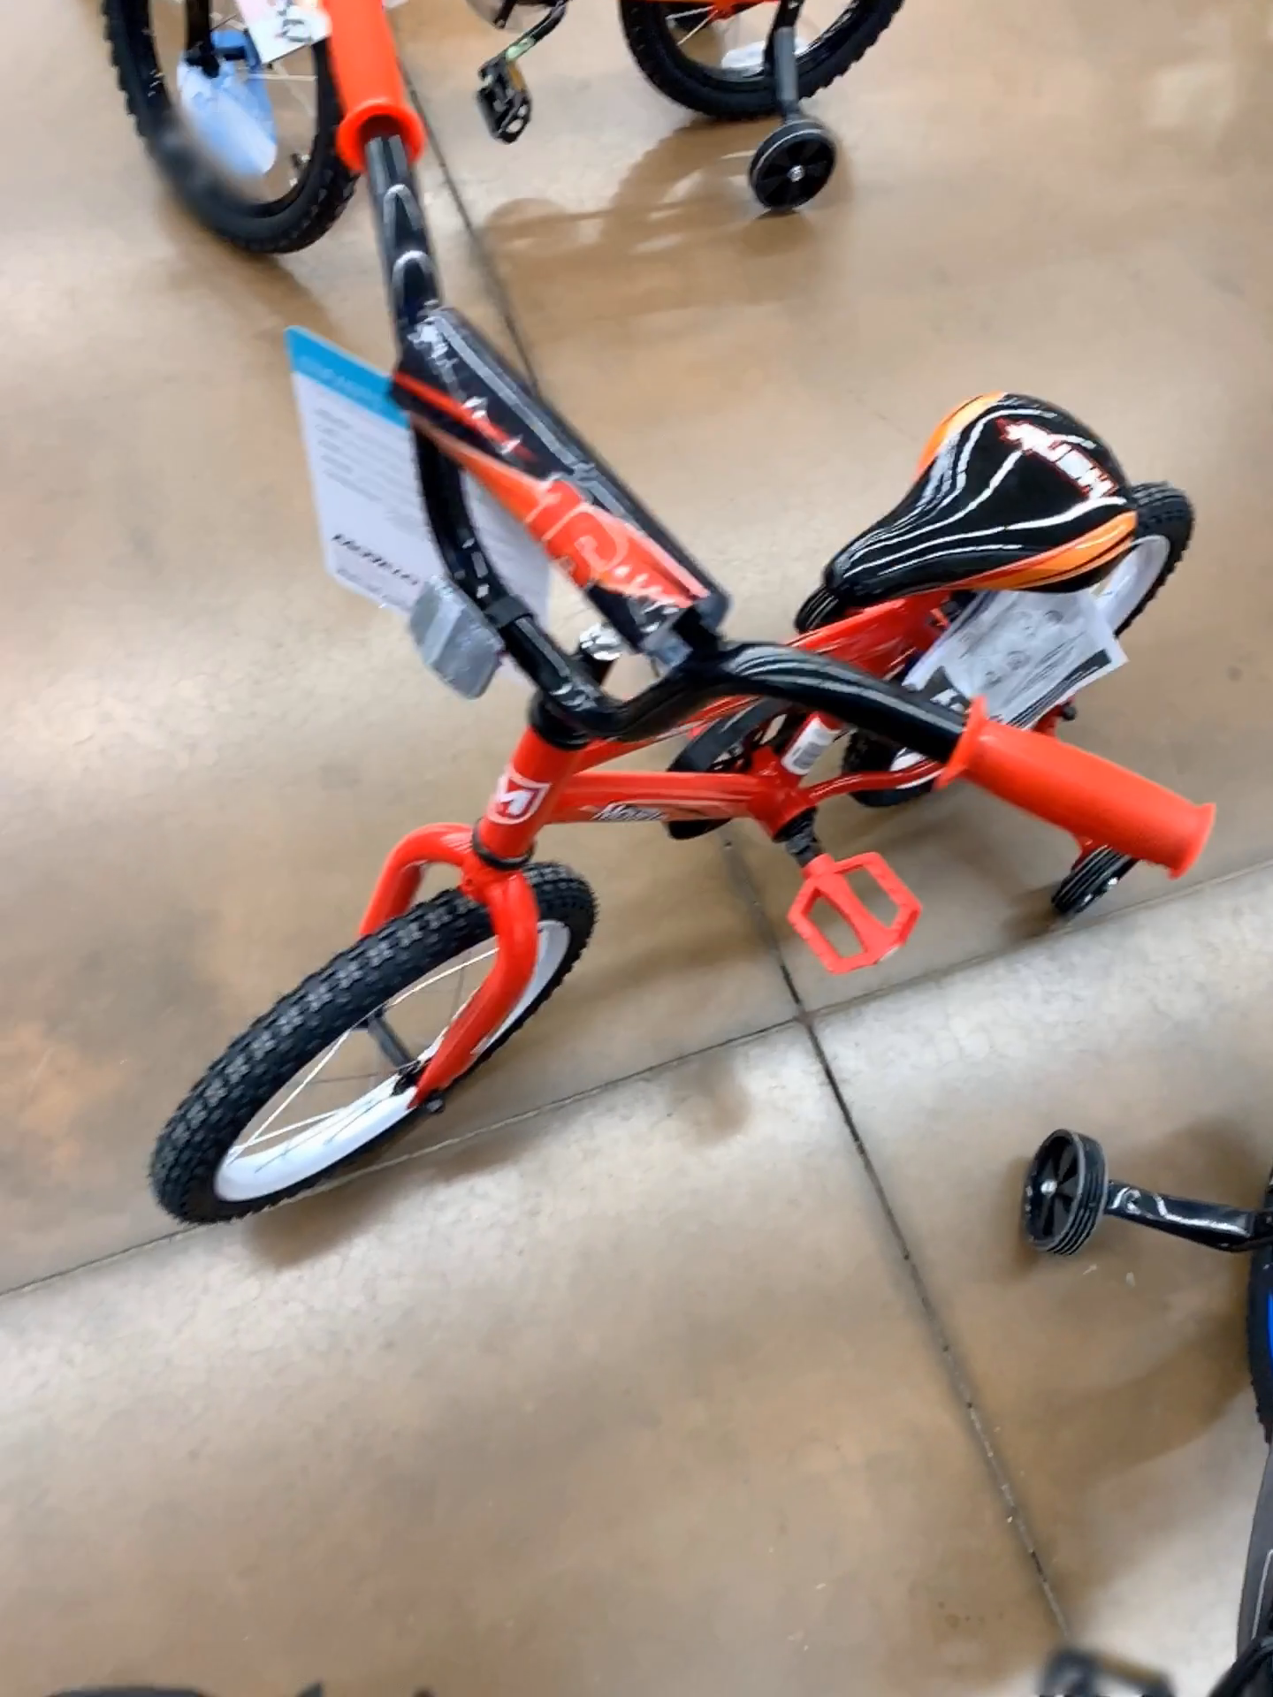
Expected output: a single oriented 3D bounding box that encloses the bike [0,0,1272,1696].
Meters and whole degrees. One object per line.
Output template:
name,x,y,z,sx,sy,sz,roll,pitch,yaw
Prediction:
bike,0.126,-0.085,0.934,1.070,0.851,0.586,-32,72,-20
